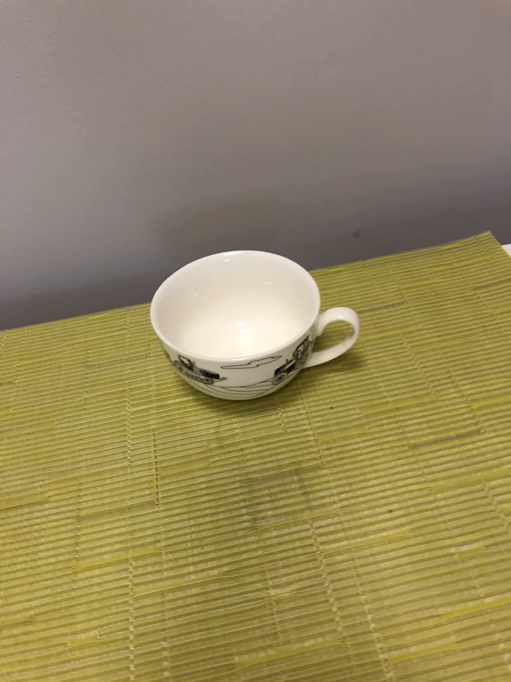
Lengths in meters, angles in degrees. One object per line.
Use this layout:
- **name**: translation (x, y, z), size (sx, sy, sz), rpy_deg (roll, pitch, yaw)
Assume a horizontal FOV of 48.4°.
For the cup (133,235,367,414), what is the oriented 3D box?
- **cup**: translation (0.001, -0.011, 0.323), size (0.113, 0.051, 0.089), rpy_deg (-2, 43, 6)
